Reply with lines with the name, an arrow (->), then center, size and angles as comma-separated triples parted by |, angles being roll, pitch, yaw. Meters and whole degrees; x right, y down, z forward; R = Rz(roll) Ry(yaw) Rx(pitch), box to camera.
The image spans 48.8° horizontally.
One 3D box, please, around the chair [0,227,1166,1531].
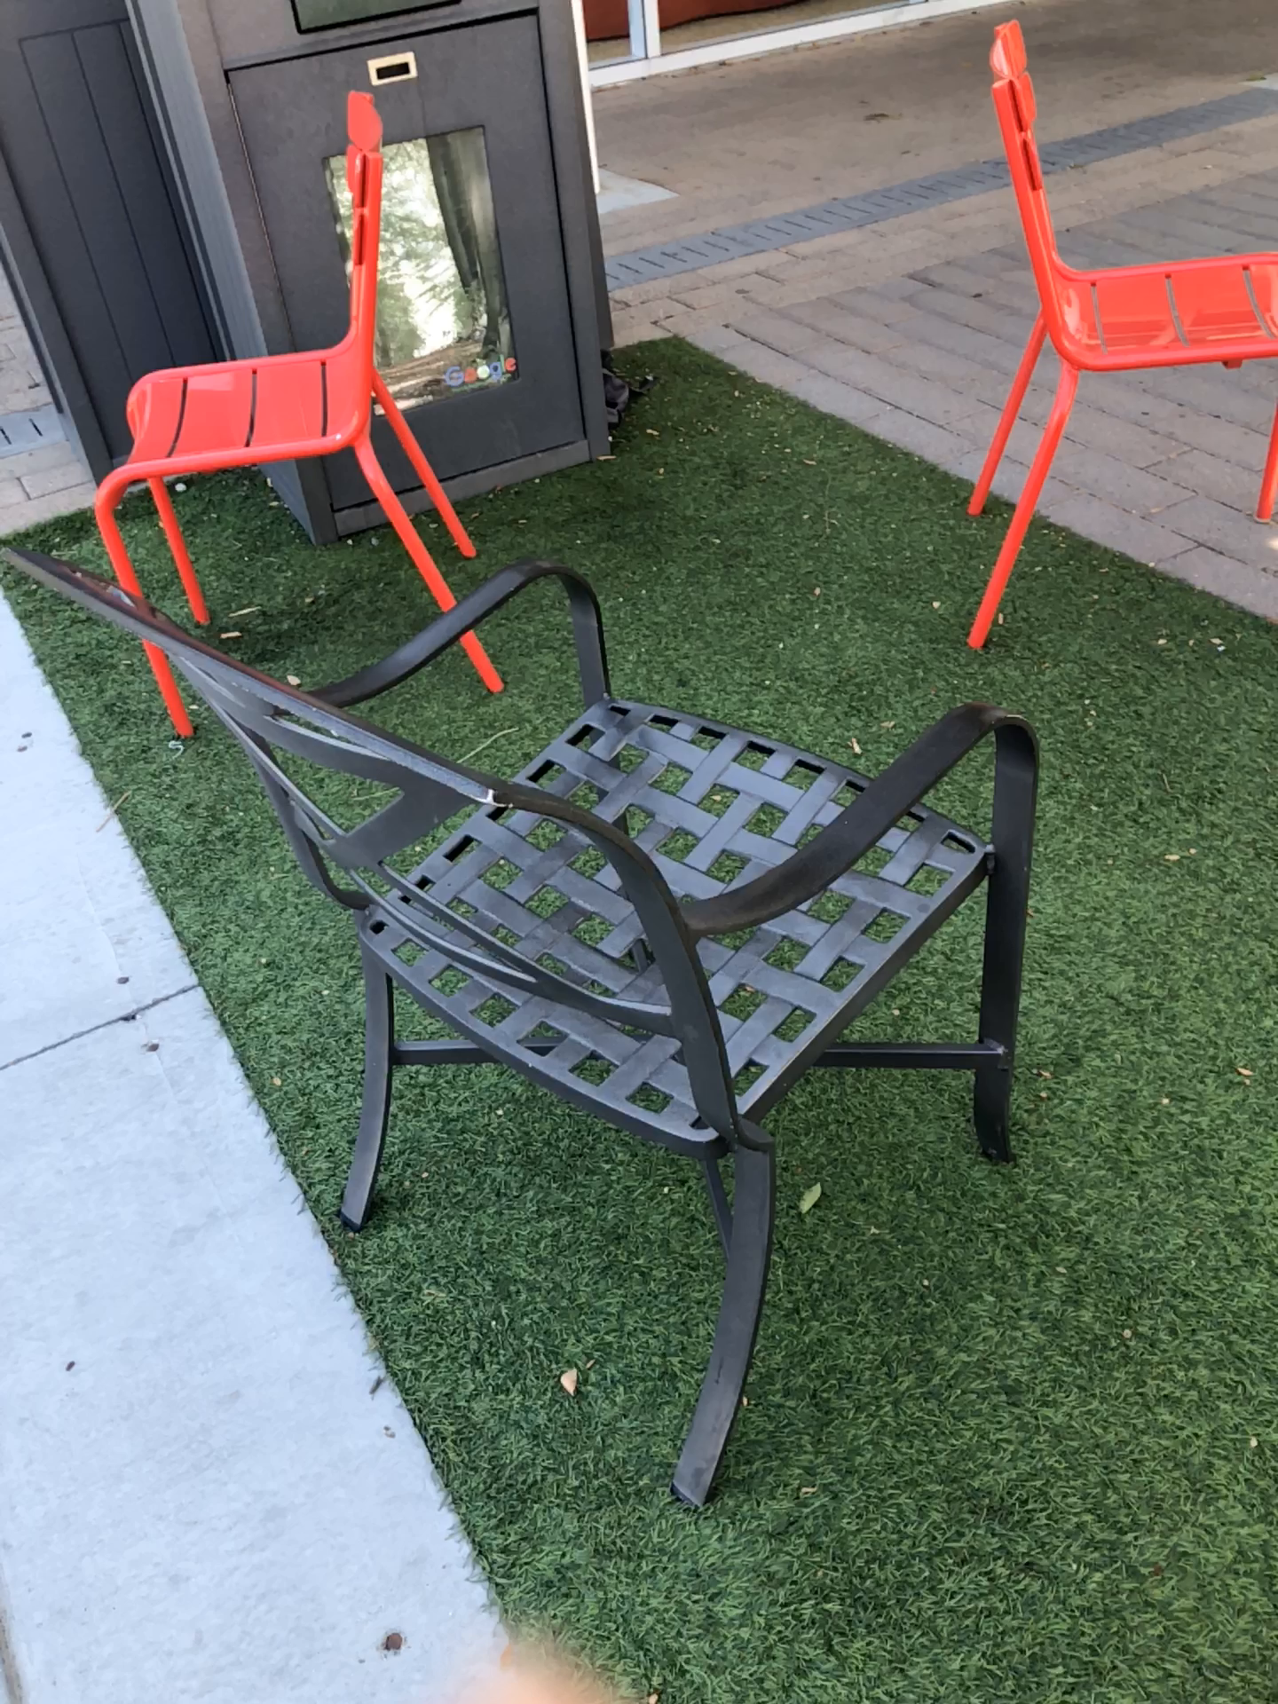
chair -> -0.017, -0.020, 1.292 | 0.642, 0.806, 0.641 | 25, 50, 35
